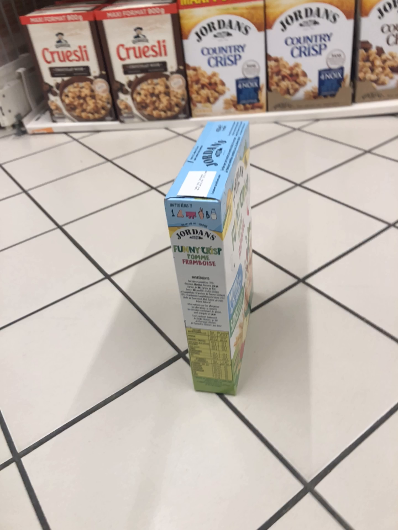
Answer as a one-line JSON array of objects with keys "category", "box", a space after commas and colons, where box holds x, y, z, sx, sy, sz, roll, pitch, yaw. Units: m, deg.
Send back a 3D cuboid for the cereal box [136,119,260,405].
[{"category": "cereal box", "box": [0.017, -0.005, 0.456, 0.070, 0.229, 0.181, 2, 37, 13]}]
